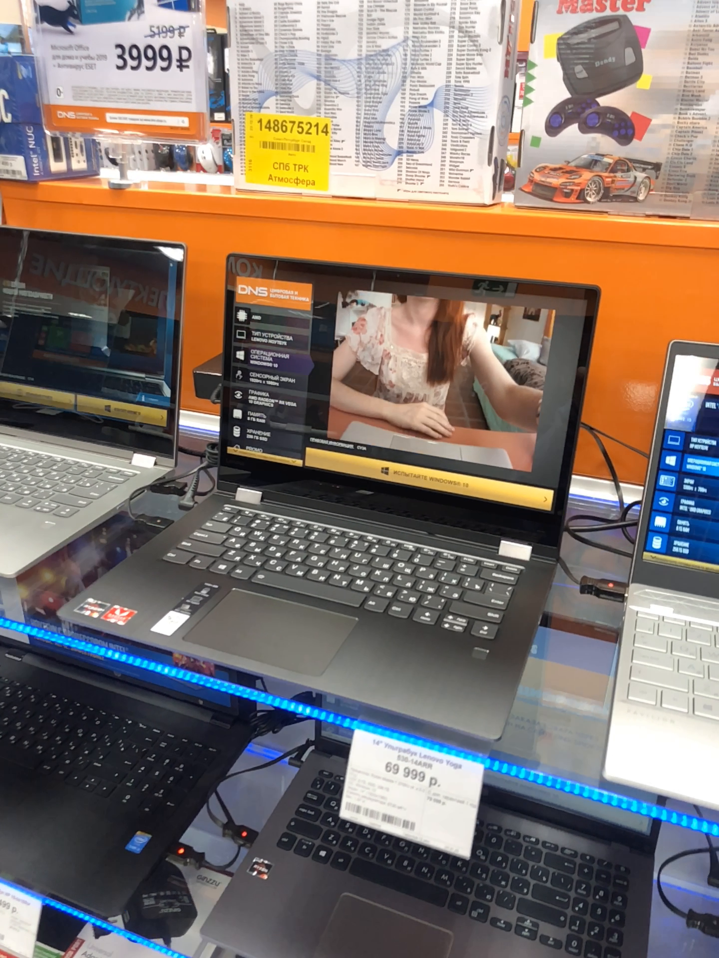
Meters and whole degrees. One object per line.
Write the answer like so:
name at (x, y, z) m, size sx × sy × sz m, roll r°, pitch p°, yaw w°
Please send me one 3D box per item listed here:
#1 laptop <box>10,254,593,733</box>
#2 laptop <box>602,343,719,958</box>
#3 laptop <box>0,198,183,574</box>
laptop at (-0.020, -0.024, 0.585) m, size 0.320 × 0.215 × 0.256 m, roll 11°, pitch 26°, yaw 19°
laptop at (0.346, 0.053, 0.489) m, size 0.315 × 0.161 × 0.311 m, roll 10°, pitch 28°, yaw 19°
laptop at (-0.368, -0.114, 0.734) m, size 0.284 × 0.202 × 0.287 m, roll 11°, pitch 29°, yaw 14°
